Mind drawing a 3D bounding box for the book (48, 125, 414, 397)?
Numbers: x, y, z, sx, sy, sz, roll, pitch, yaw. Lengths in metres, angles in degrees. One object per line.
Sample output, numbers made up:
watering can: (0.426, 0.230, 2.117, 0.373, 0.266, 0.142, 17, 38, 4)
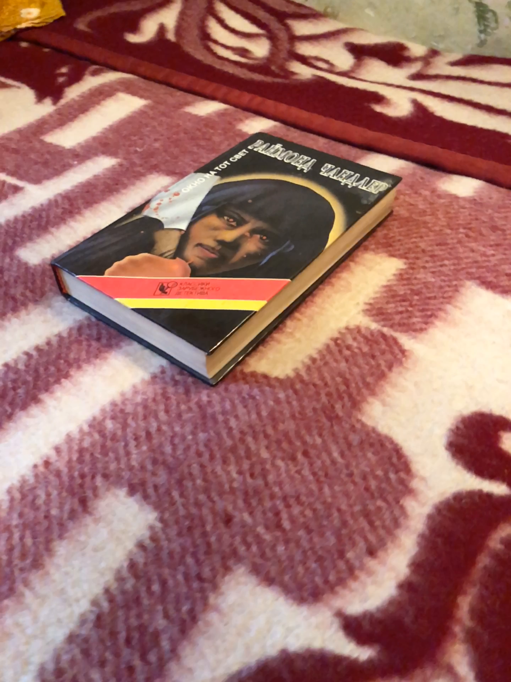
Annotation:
book: (-0.007, -0.070, 0.377, 0.134, 0.032, 0.209, 28, 54, 27)
